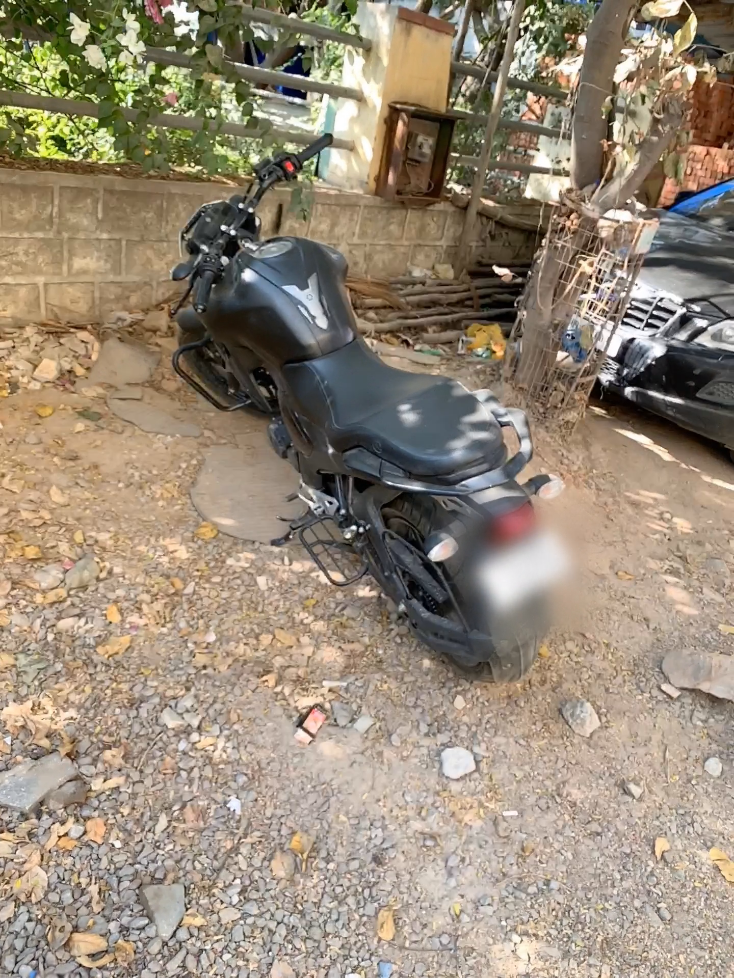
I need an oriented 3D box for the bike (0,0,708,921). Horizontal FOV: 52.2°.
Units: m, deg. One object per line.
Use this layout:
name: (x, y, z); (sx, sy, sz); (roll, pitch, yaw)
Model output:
bike: (-0.317, -0.279, 2.048); (0.821, 1.499, 1.758); (-12, 39, -39)
